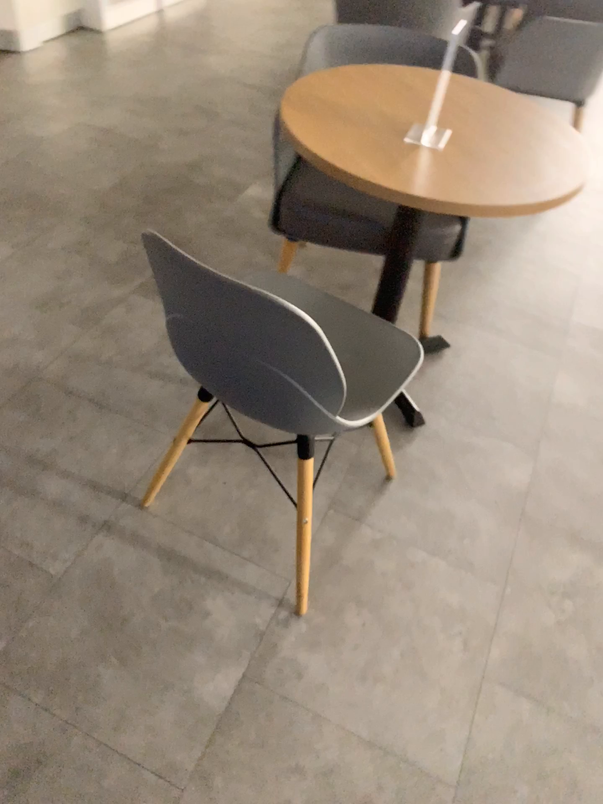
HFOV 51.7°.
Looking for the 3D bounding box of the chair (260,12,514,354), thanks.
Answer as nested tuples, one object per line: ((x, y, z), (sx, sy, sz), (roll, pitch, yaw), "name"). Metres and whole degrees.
((0.220, -0.644, 1.894), (0.555, 0.753, 0.514), (11, 46, 2), "chair")

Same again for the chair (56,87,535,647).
((-0.020, -0.045, 1.205), (0.506, 0.803, 0.523), (29, 49, 18), "chair")
